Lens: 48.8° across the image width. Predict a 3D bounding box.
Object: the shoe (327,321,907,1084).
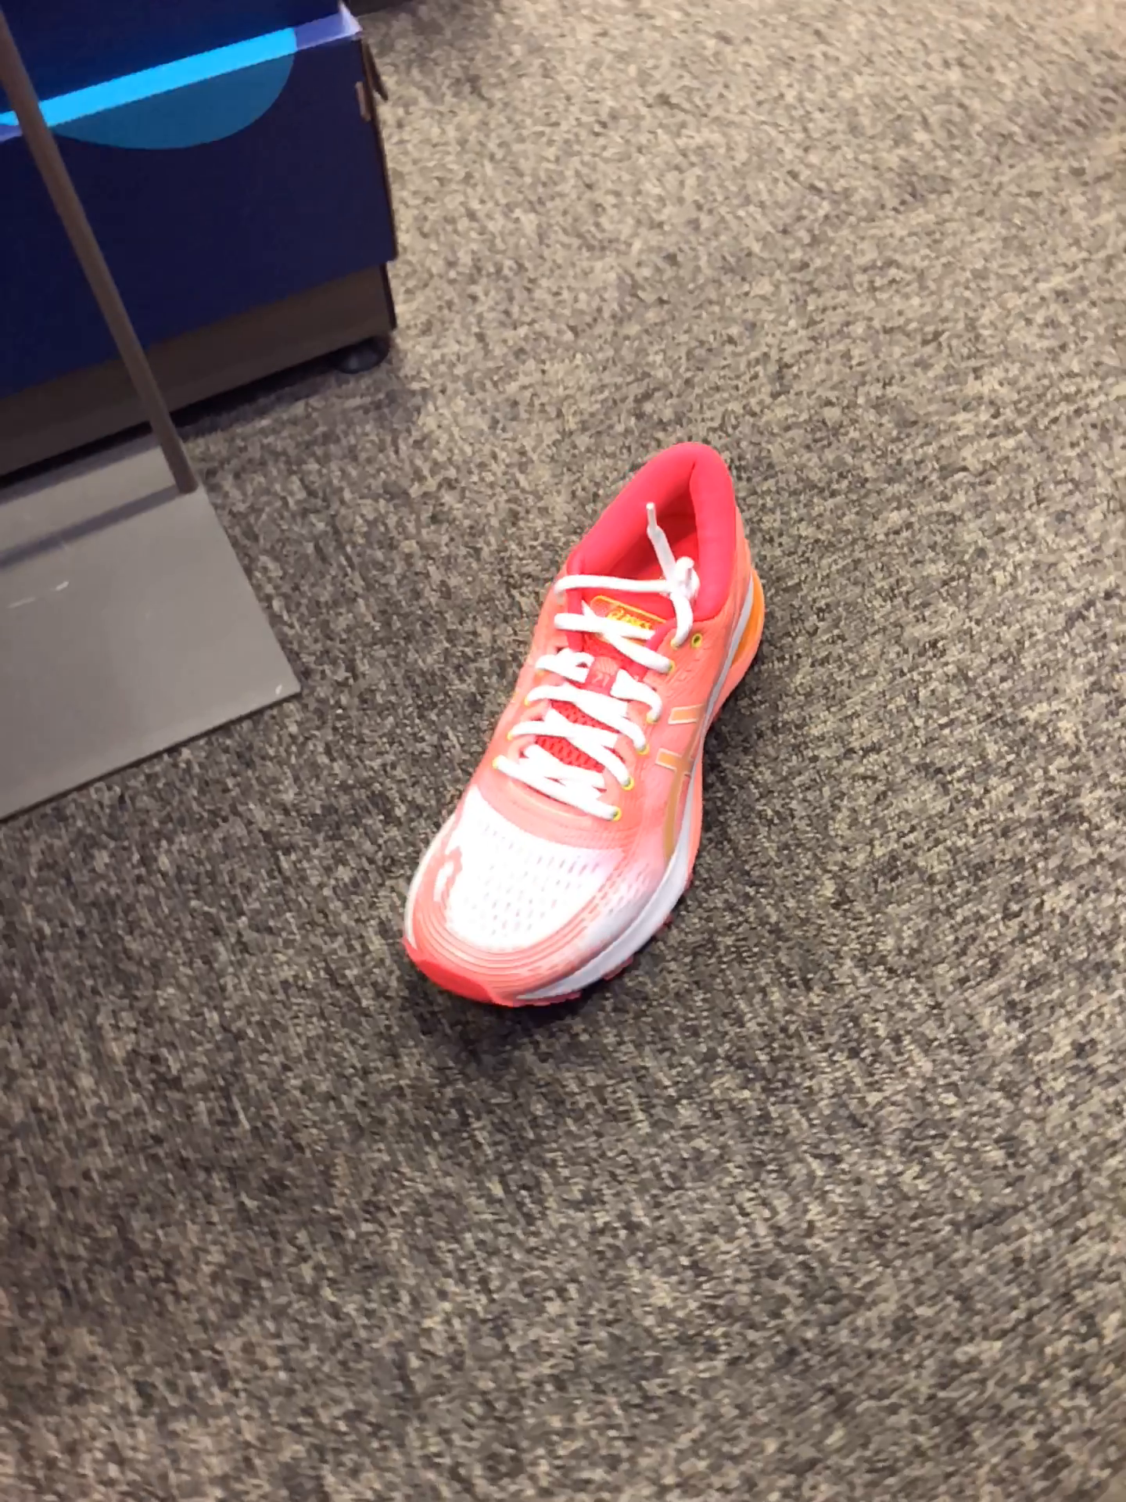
[{"bbox_3d":[0.033,-0.025,0.508,0.107,0.130,0.269,22,63,15],"label":"shoe"}]
